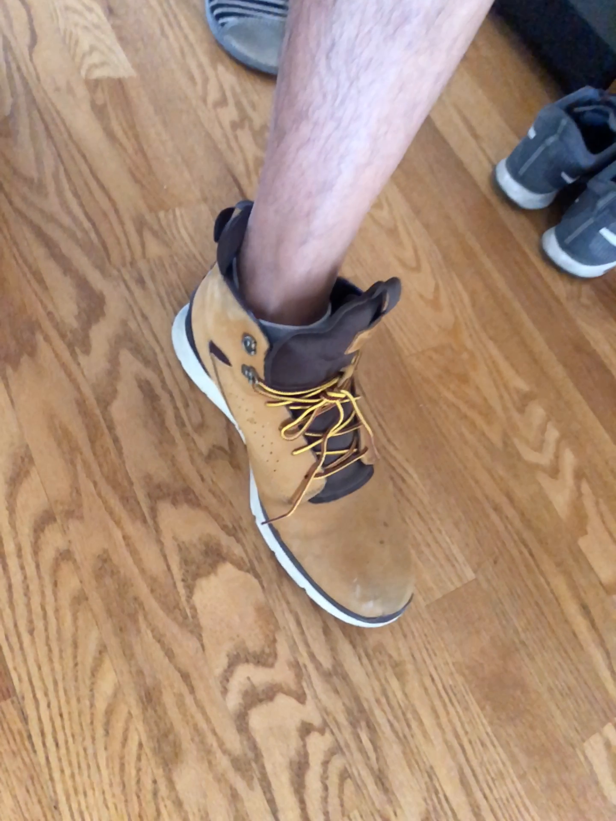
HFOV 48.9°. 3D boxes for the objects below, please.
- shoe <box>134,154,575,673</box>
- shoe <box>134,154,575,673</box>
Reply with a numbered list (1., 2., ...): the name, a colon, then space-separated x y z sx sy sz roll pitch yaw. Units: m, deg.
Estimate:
1. shoe: 0.010 -0.005 0.474 0.130 0.139 0.310 -20 71 -29
2. shoe: 0.010 -0.005 0.474 0.130 0.139 0.310 -20 71 -29
